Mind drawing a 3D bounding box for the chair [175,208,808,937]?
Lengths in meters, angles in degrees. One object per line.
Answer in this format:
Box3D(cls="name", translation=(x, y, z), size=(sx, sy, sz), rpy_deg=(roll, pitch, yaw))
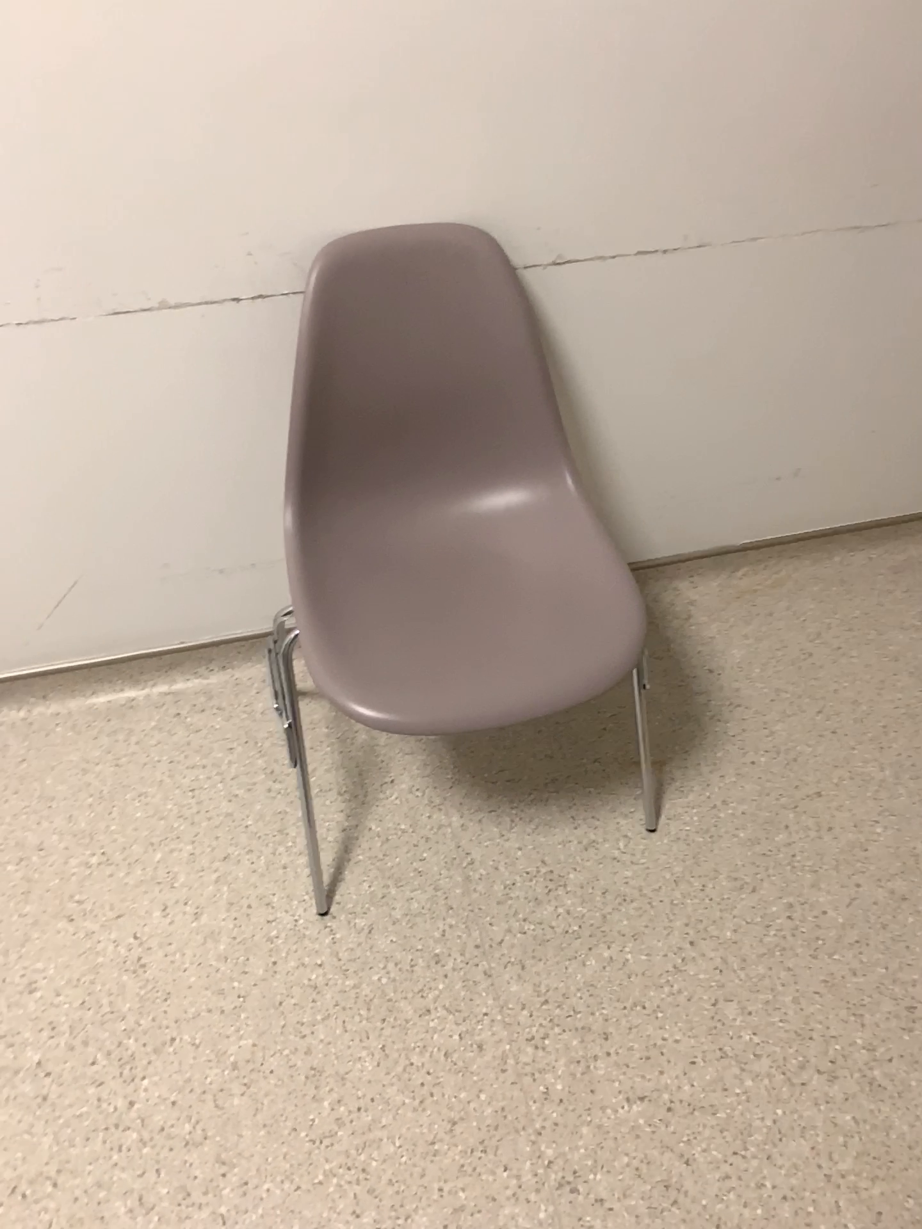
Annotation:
Box3D(cls="chair", translation=(-0.011, -0.042, 1.326), size=(0.580, 0.783, 0.545), rpy_deg=(-11, 47, -10))
